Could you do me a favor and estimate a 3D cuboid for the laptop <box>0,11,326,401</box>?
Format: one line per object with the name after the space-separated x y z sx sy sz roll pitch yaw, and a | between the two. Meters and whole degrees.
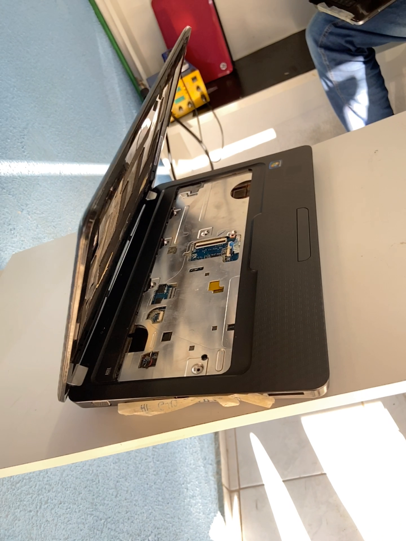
-0.029 -0.074 0.387 0.222 0.153 0.328 -11 40 21 | laptop
